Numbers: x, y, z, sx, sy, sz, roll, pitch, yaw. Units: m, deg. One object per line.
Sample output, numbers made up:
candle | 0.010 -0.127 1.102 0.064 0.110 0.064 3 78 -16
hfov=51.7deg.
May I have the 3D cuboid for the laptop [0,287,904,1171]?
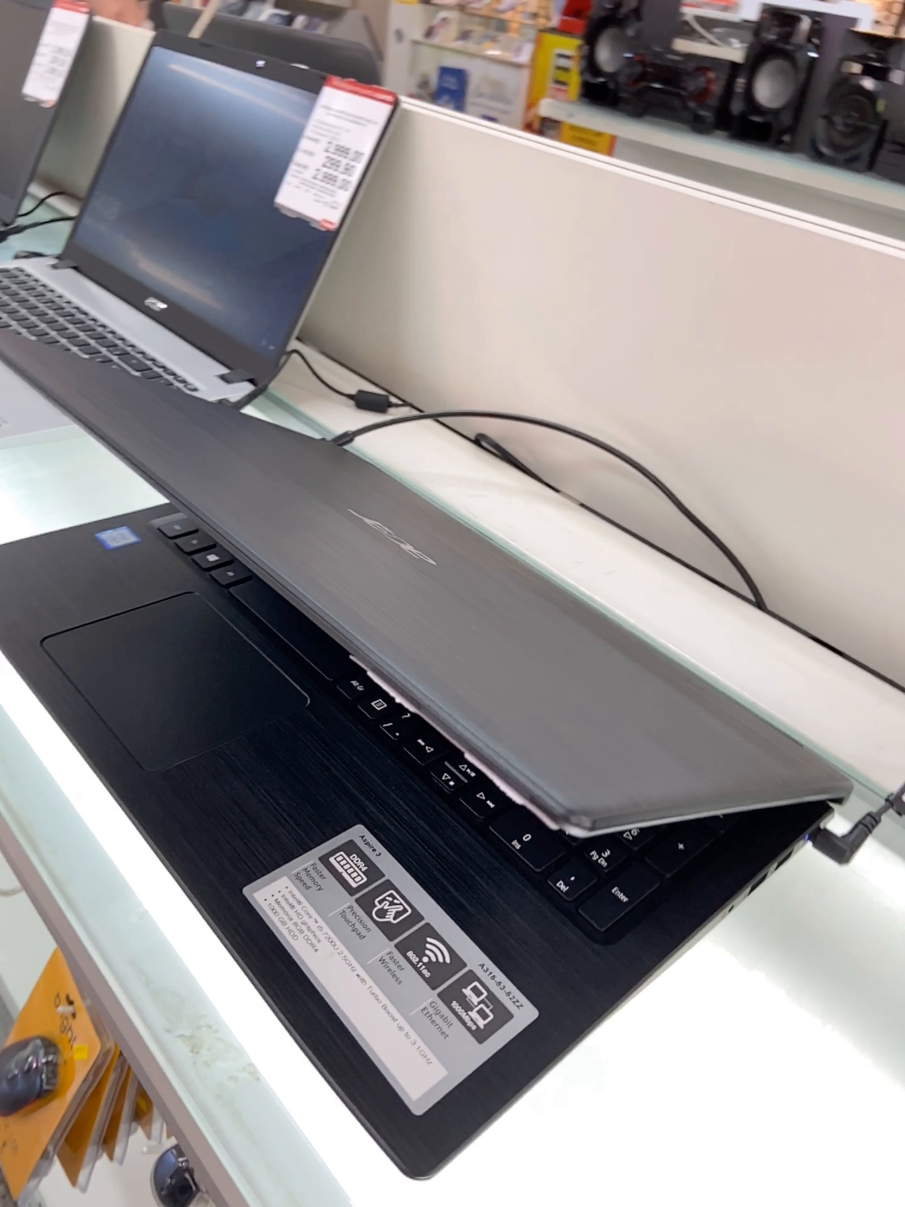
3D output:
laptop | -0.043 -0.015 0.412 0.237 0.118 0.381 -22 44 -37
